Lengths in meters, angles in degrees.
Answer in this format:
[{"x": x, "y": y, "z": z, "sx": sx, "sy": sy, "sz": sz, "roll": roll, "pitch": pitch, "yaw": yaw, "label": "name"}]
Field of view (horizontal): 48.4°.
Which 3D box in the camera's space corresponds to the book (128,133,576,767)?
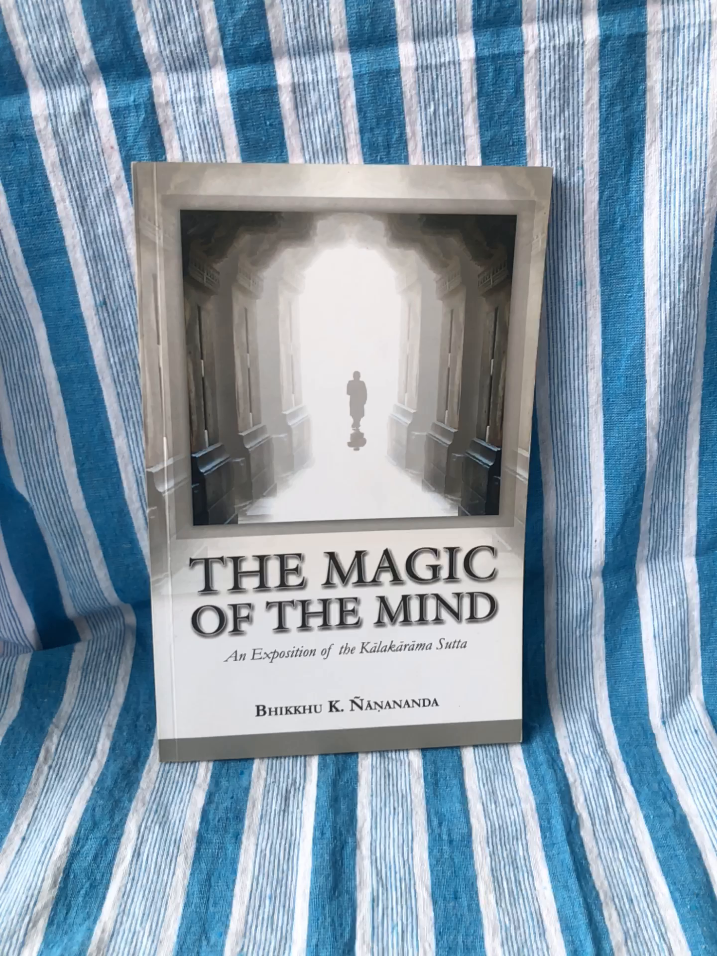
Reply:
[{"x": -0.001, "y": -0.005, "z": 0.288, "sx": 0.150, "sy": 0.220, "sz": 0.010, "roll": -1, "pitch": 9, "yaw": -7, "label": "book"}]
